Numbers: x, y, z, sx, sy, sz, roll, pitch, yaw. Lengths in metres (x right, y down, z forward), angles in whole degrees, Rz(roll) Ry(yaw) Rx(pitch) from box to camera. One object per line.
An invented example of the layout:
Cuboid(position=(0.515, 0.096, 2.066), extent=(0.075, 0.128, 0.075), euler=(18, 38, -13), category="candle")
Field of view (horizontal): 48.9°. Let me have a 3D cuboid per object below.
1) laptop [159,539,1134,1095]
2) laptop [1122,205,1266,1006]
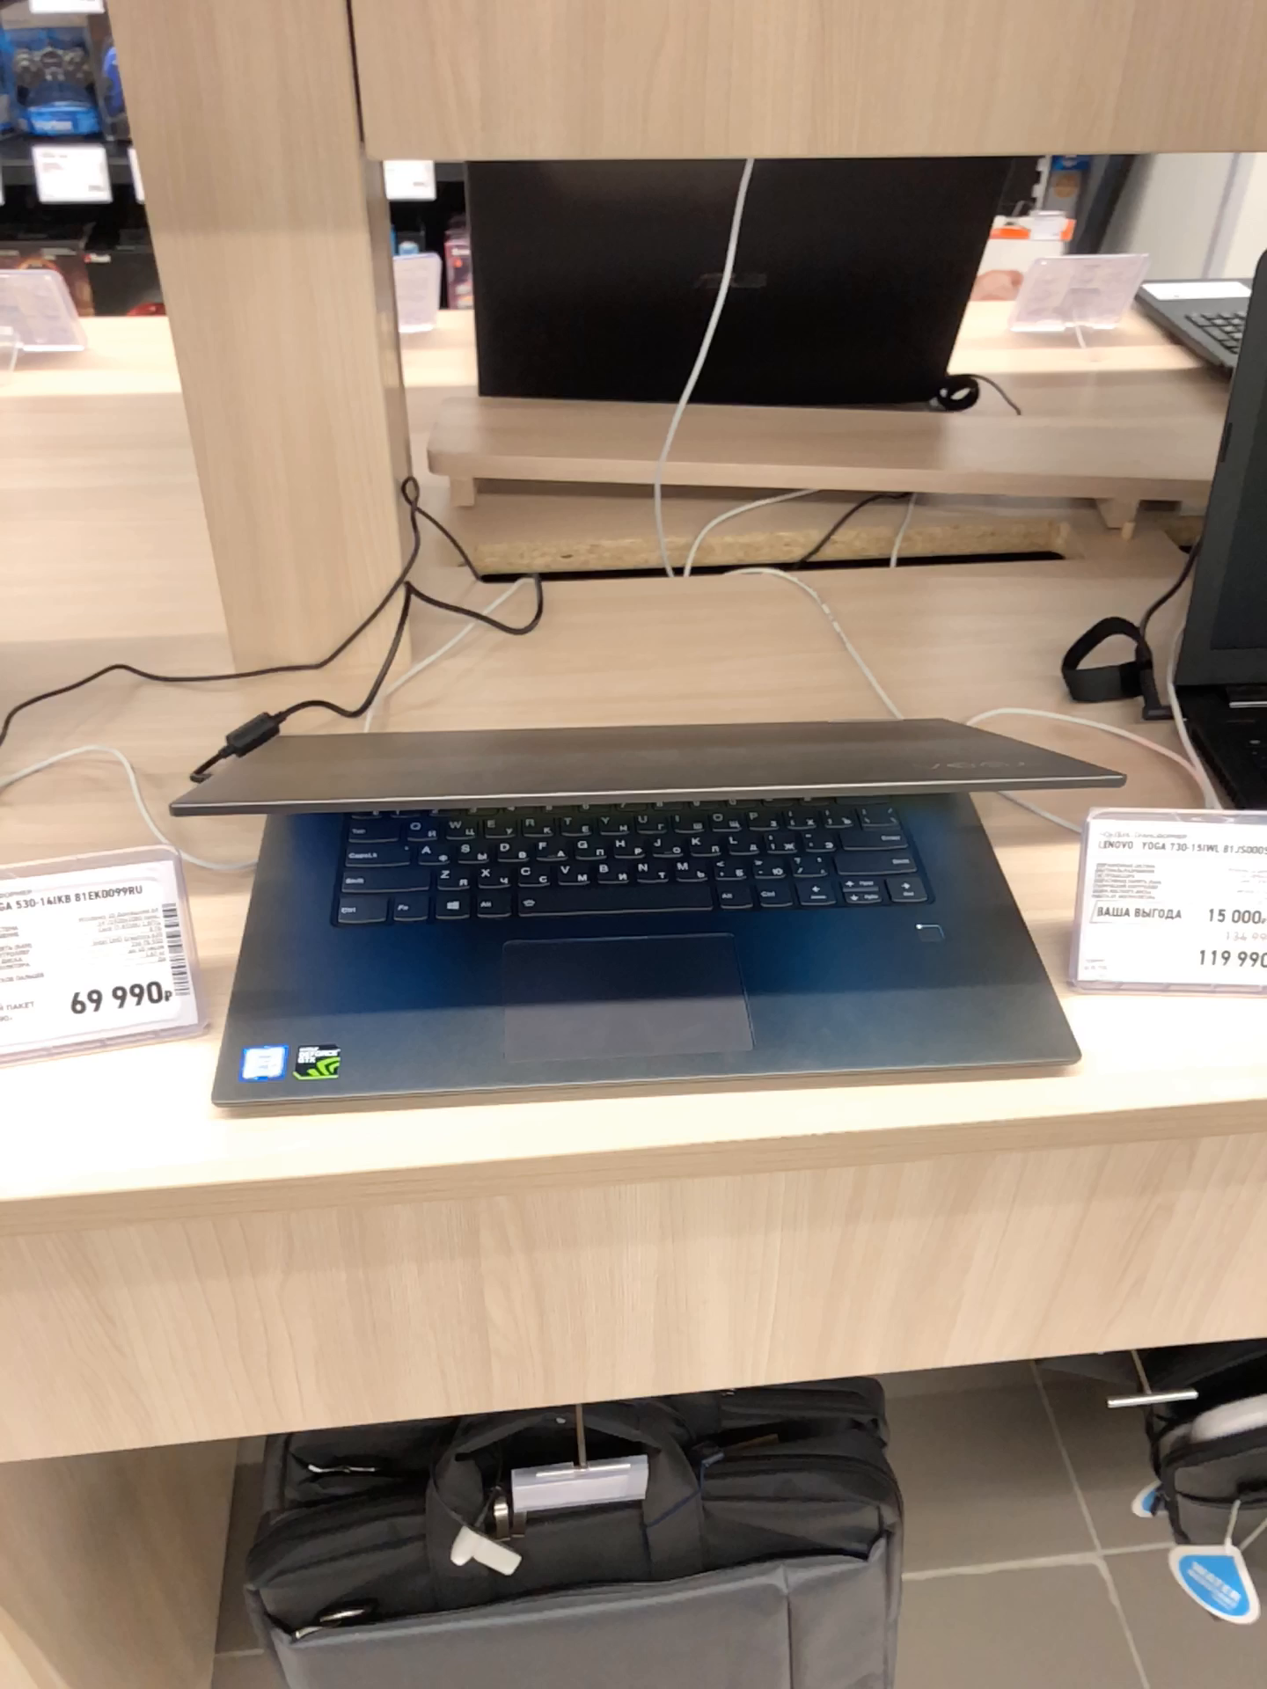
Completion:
Cuboid(position=(-0.002, -0.027, 0.645), extent=(0.362, 0.118, 0.244), euler=(-2, 39, -5), category="laptop")
Cuboid(position=(0.525, -0.134, 0.685), extent=(0.402, 0.240, 0.305), euler=(-4, 40, -6), category="laptop")
